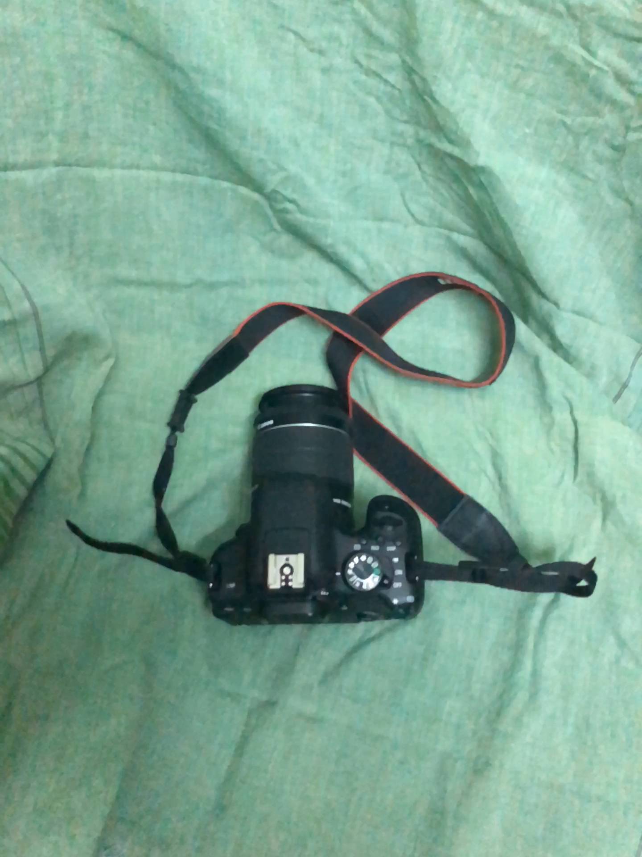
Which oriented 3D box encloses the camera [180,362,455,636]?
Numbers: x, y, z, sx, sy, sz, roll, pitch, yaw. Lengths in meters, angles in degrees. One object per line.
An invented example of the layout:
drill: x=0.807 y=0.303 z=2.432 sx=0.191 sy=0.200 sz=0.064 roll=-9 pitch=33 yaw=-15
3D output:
camera: x=-0.002 y=0.048 z=0.438 sx=0.142 sy=0.100 sz=0.144 roll=-2 pitch=71 yaw=2
